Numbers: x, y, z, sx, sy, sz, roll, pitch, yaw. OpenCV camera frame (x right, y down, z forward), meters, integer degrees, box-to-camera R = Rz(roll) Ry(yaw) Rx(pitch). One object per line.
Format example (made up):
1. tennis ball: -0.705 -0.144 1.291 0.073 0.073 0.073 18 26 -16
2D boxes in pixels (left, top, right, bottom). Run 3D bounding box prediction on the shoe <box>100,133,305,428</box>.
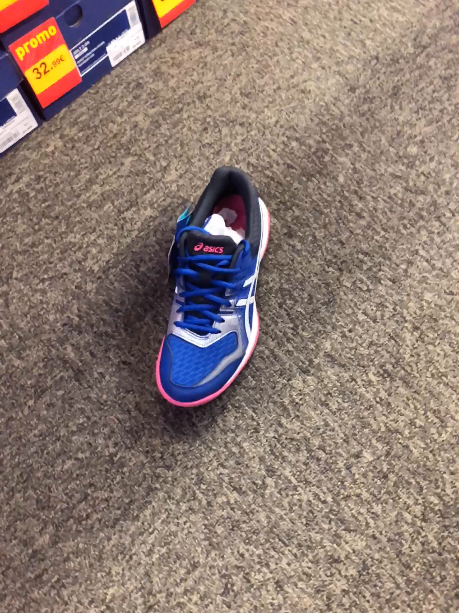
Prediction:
1. shoe: -0.016 -0.029 0.529 0.125 0.100 0.271 13 71 8
